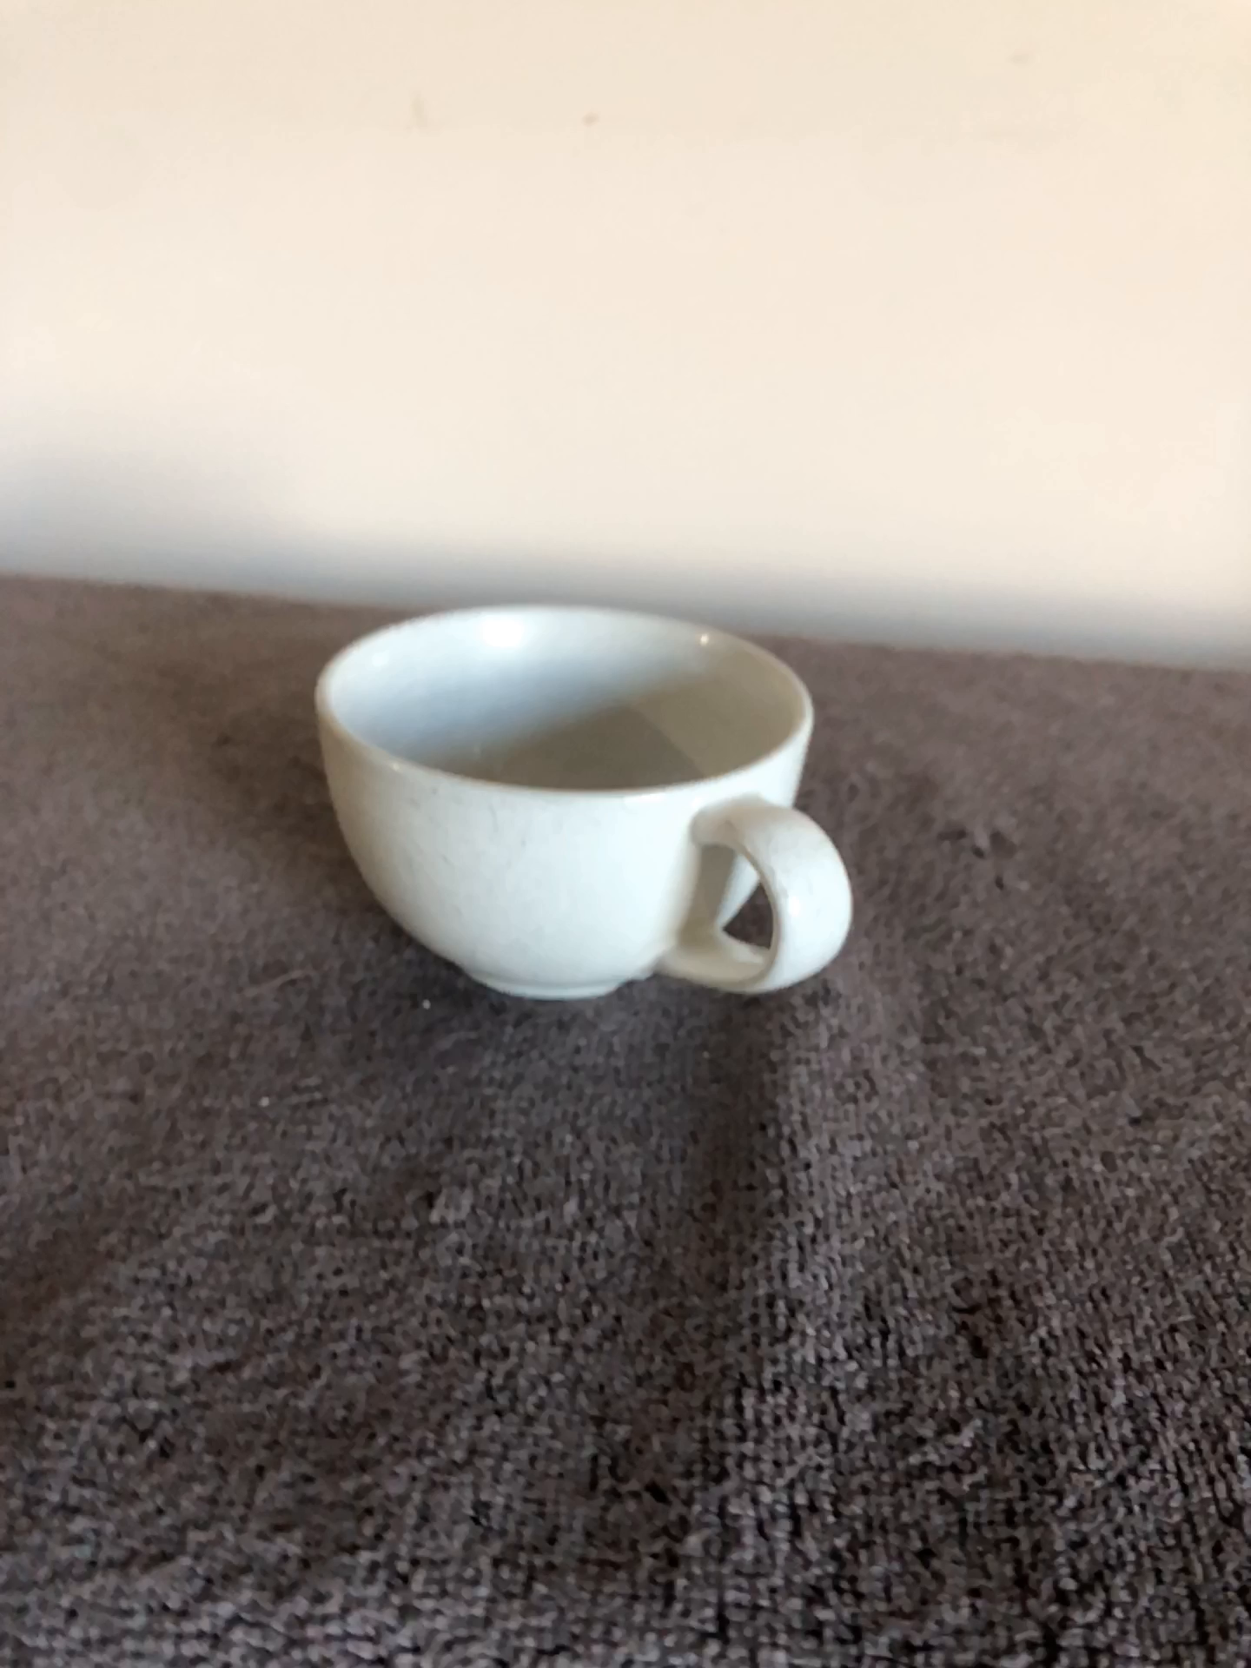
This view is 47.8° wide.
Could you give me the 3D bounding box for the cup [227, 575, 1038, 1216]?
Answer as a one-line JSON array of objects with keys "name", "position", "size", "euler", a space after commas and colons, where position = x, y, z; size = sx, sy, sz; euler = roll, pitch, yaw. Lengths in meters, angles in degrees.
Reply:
[{"name": "cup", "position": [-0.004, -0.001, 0.263], "size": [0.090, 0.050, 0.120], "euler": [-18, 34, -34]}]
